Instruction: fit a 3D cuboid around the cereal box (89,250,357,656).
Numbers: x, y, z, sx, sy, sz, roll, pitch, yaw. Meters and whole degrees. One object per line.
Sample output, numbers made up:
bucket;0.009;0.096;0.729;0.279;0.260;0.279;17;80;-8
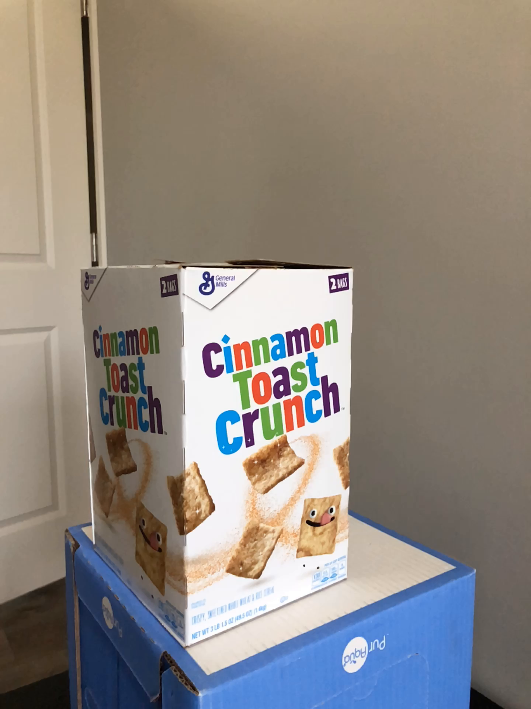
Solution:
cereal box;-0.046;0.063;0.566;0.170;0.310;0.200;-5;8;-35
